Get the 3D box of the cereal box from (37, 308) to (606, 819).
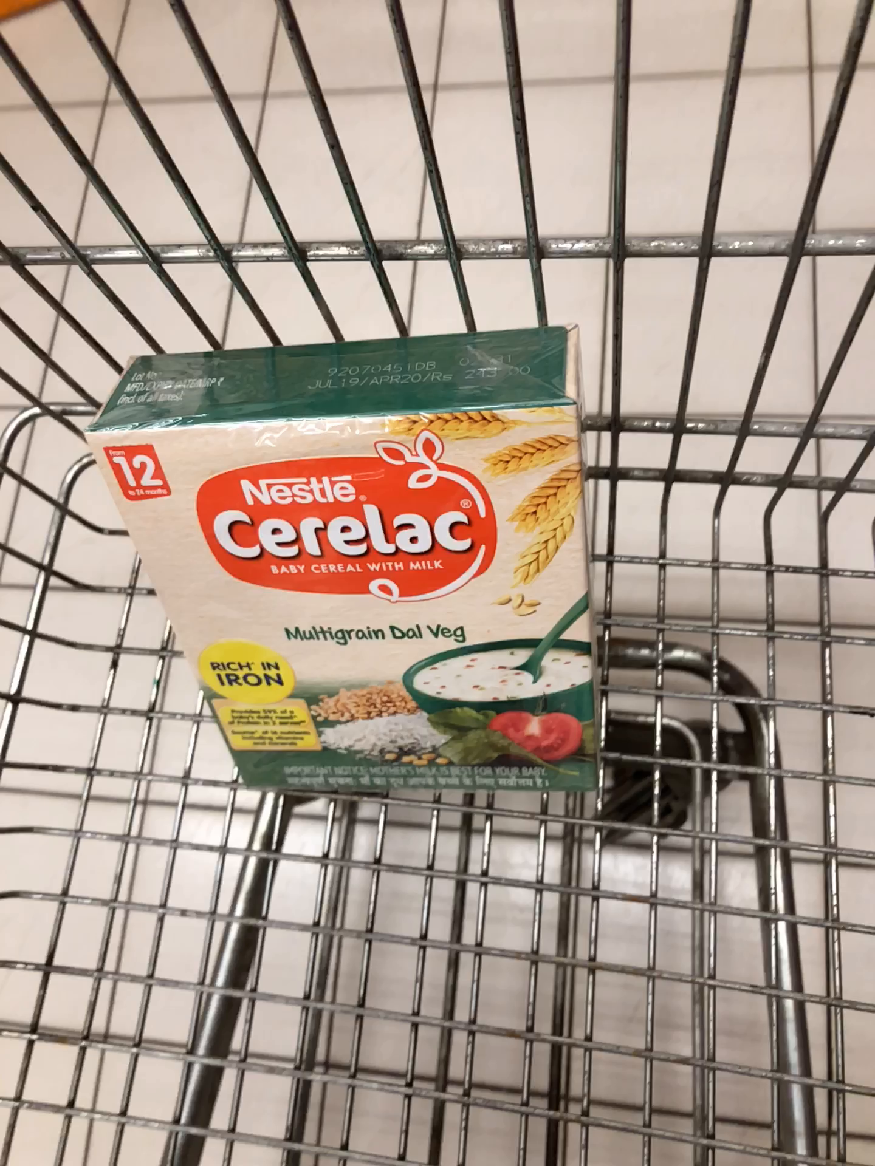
[{"bbox_3d":[-0.023,0.007,0.349,0.160,0.189,0.050,-2,41,9],"label":"cereal box"}]
